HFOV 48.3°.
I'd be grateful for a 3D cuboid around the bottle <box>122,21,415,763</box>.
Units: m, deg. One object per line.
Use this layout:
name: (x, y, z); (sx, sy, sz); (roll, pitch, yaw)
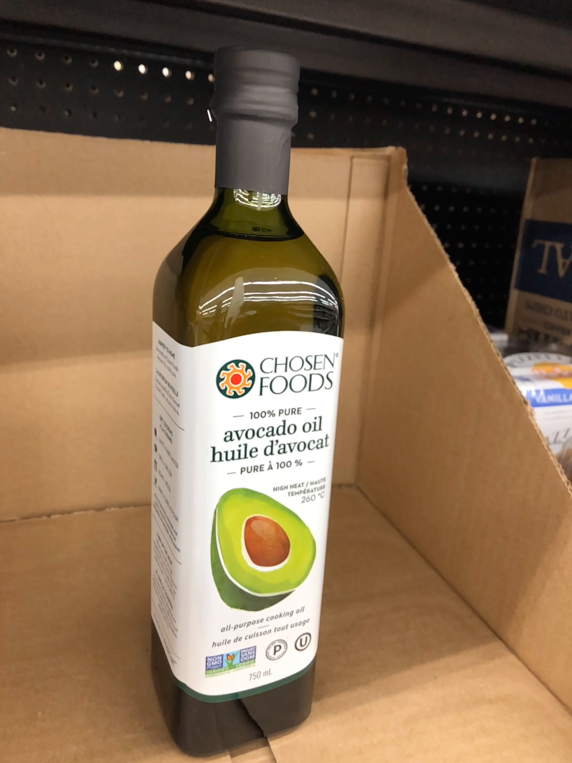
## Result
bottle: (-0.020, 0.024, 0.287); (0.090, 0.308, 0.070); (-4, 20, -23)
